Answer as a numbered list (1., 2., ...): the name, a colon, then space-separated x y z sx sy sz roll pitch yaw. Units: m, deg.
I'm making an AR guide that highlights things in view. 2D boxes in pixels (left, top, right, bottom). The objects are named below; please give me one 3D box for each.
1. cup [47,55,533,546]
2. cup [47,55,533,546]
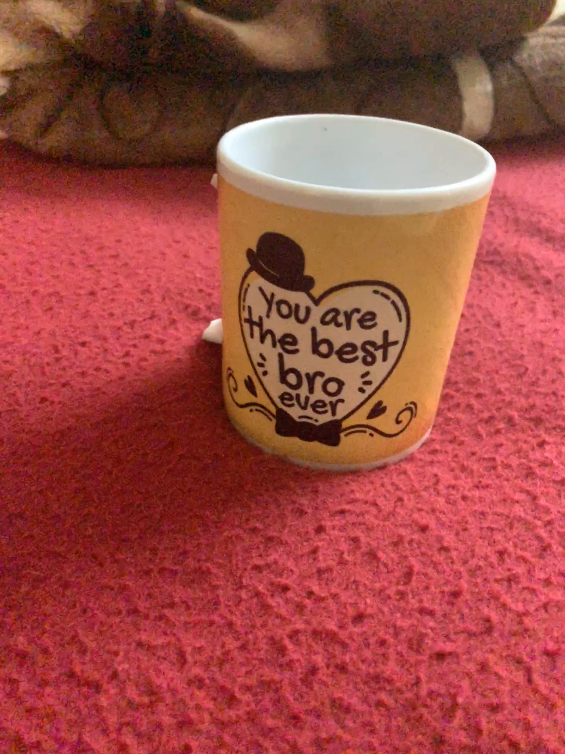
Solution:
1. cup: 0.000 -0.033 0.200 0.110 0.109 0.080 30 47 30
2. cup: 0.000 -0.033 0.200 0.110 0.109 0.080 30 47 30
